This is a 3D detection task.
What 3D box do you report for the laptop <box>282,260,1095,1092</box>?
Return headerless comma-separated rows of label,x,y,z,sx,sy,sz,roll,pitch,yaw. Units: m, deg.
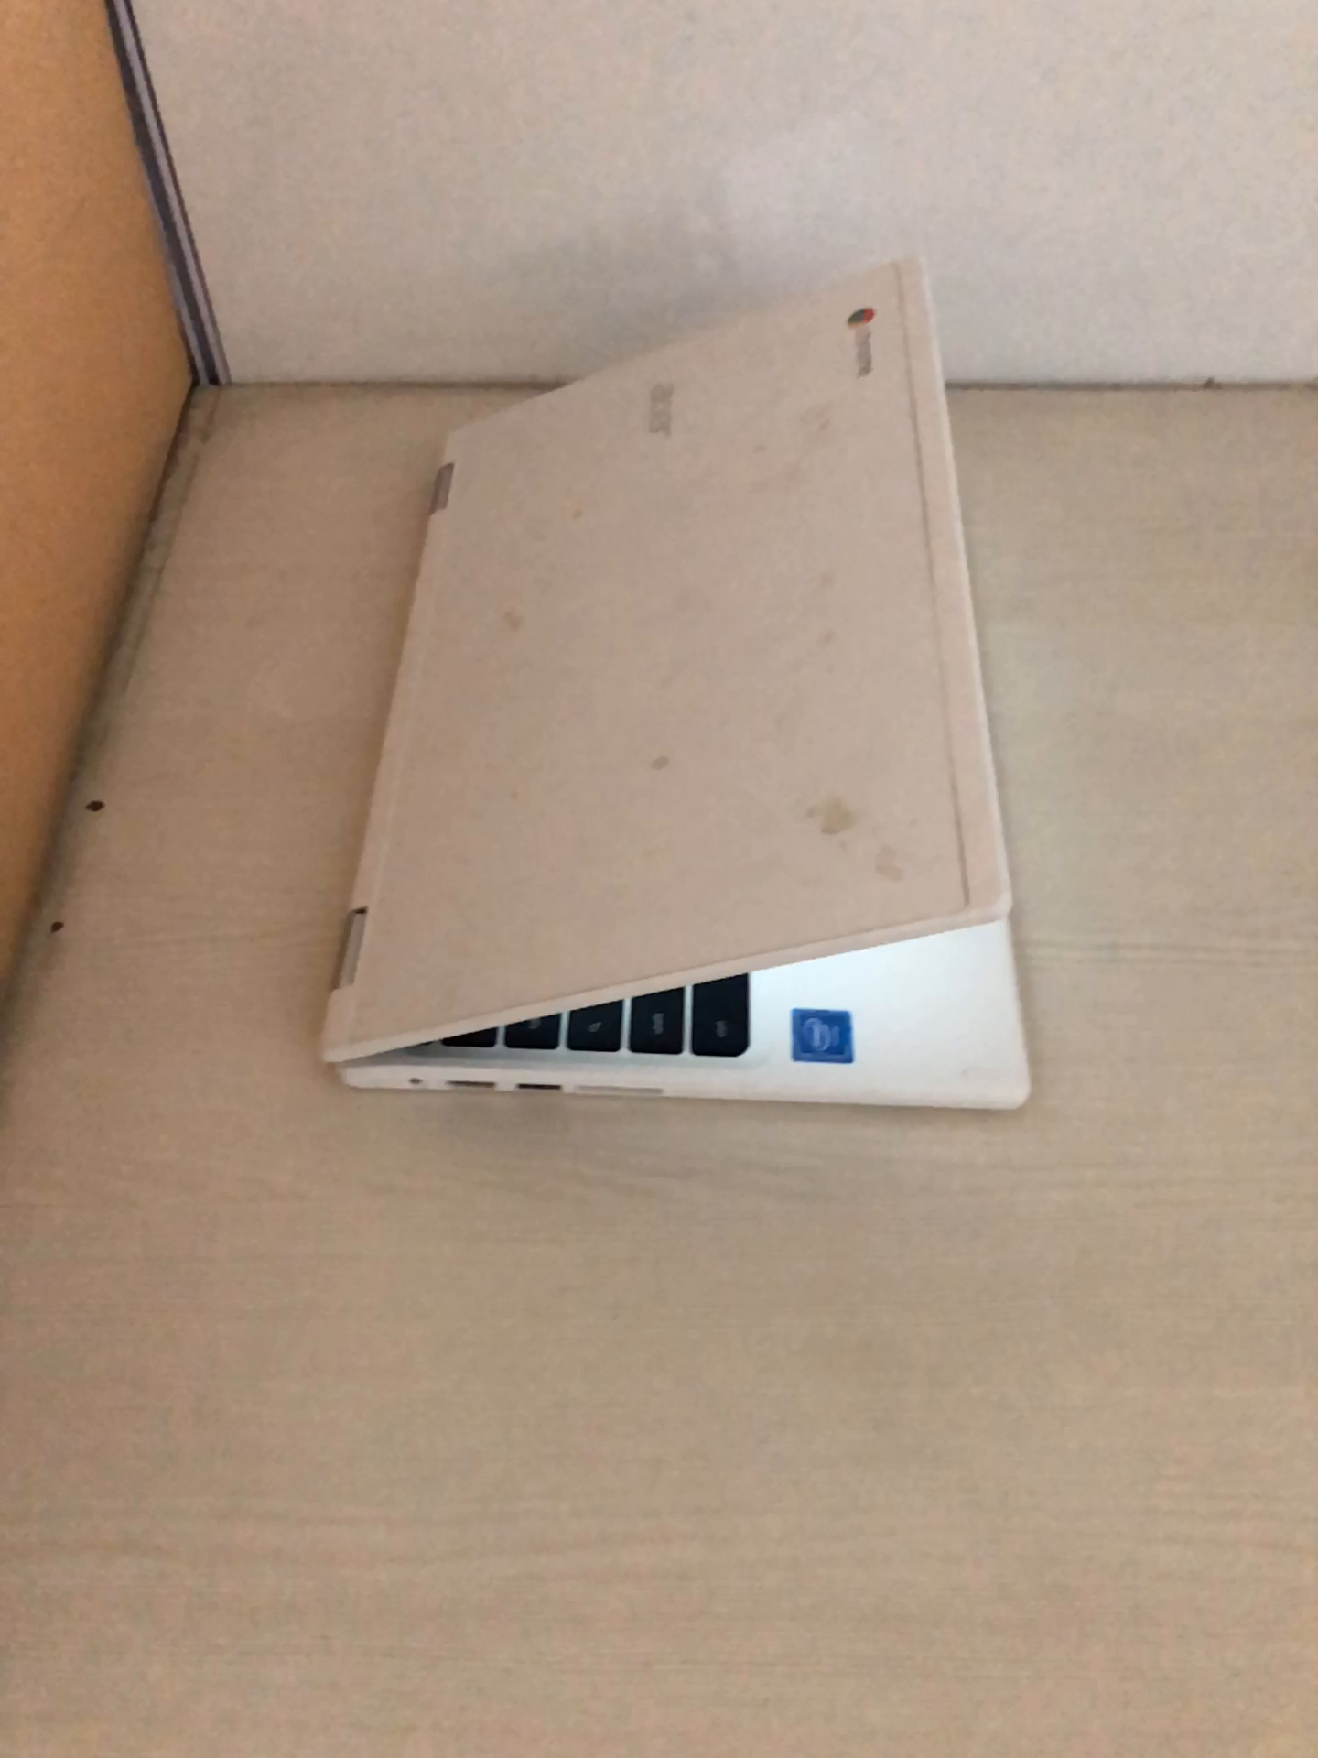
laptop,0.012,-0.082,0.479,0.200,0.092,0.284,1,53,2
